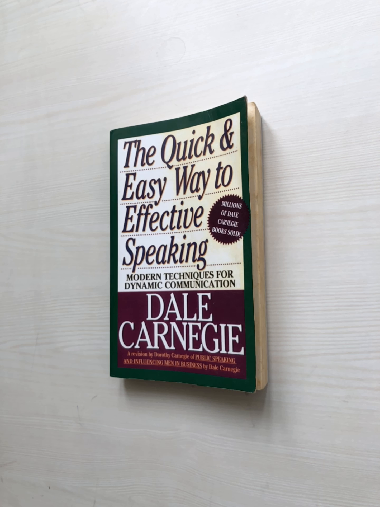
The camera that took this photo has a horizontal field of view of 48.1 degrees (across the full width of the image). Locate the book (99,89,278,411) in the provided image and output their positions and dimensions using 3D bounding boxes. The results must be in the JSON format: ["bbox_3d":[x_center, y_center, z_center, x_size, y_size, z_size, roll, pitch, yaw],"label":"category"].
[{"bbox_3d":[-0.003,-0.001,0.281,0.110,0.040,0.180,-2,85,29],"label":"book"}]
